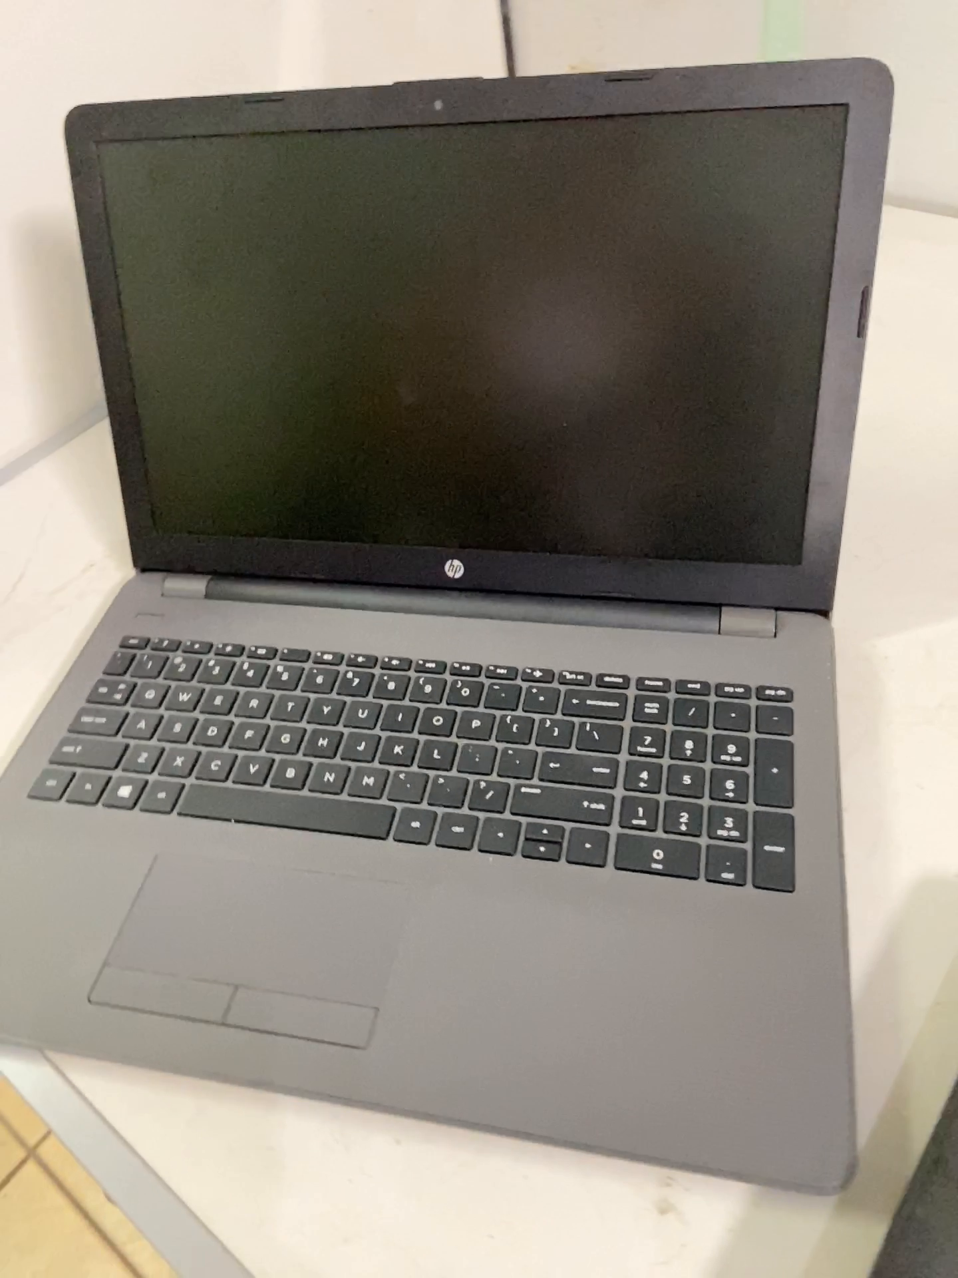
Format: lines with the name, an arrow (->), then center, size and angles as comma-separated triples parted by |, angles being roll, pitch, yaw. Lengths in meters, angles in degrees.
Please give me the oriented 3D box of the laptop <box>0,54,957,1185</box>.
laptop -> -0.039, -0.043, 0.401 | 0.380, 0.206, 0.366 | 4, 49, 13
